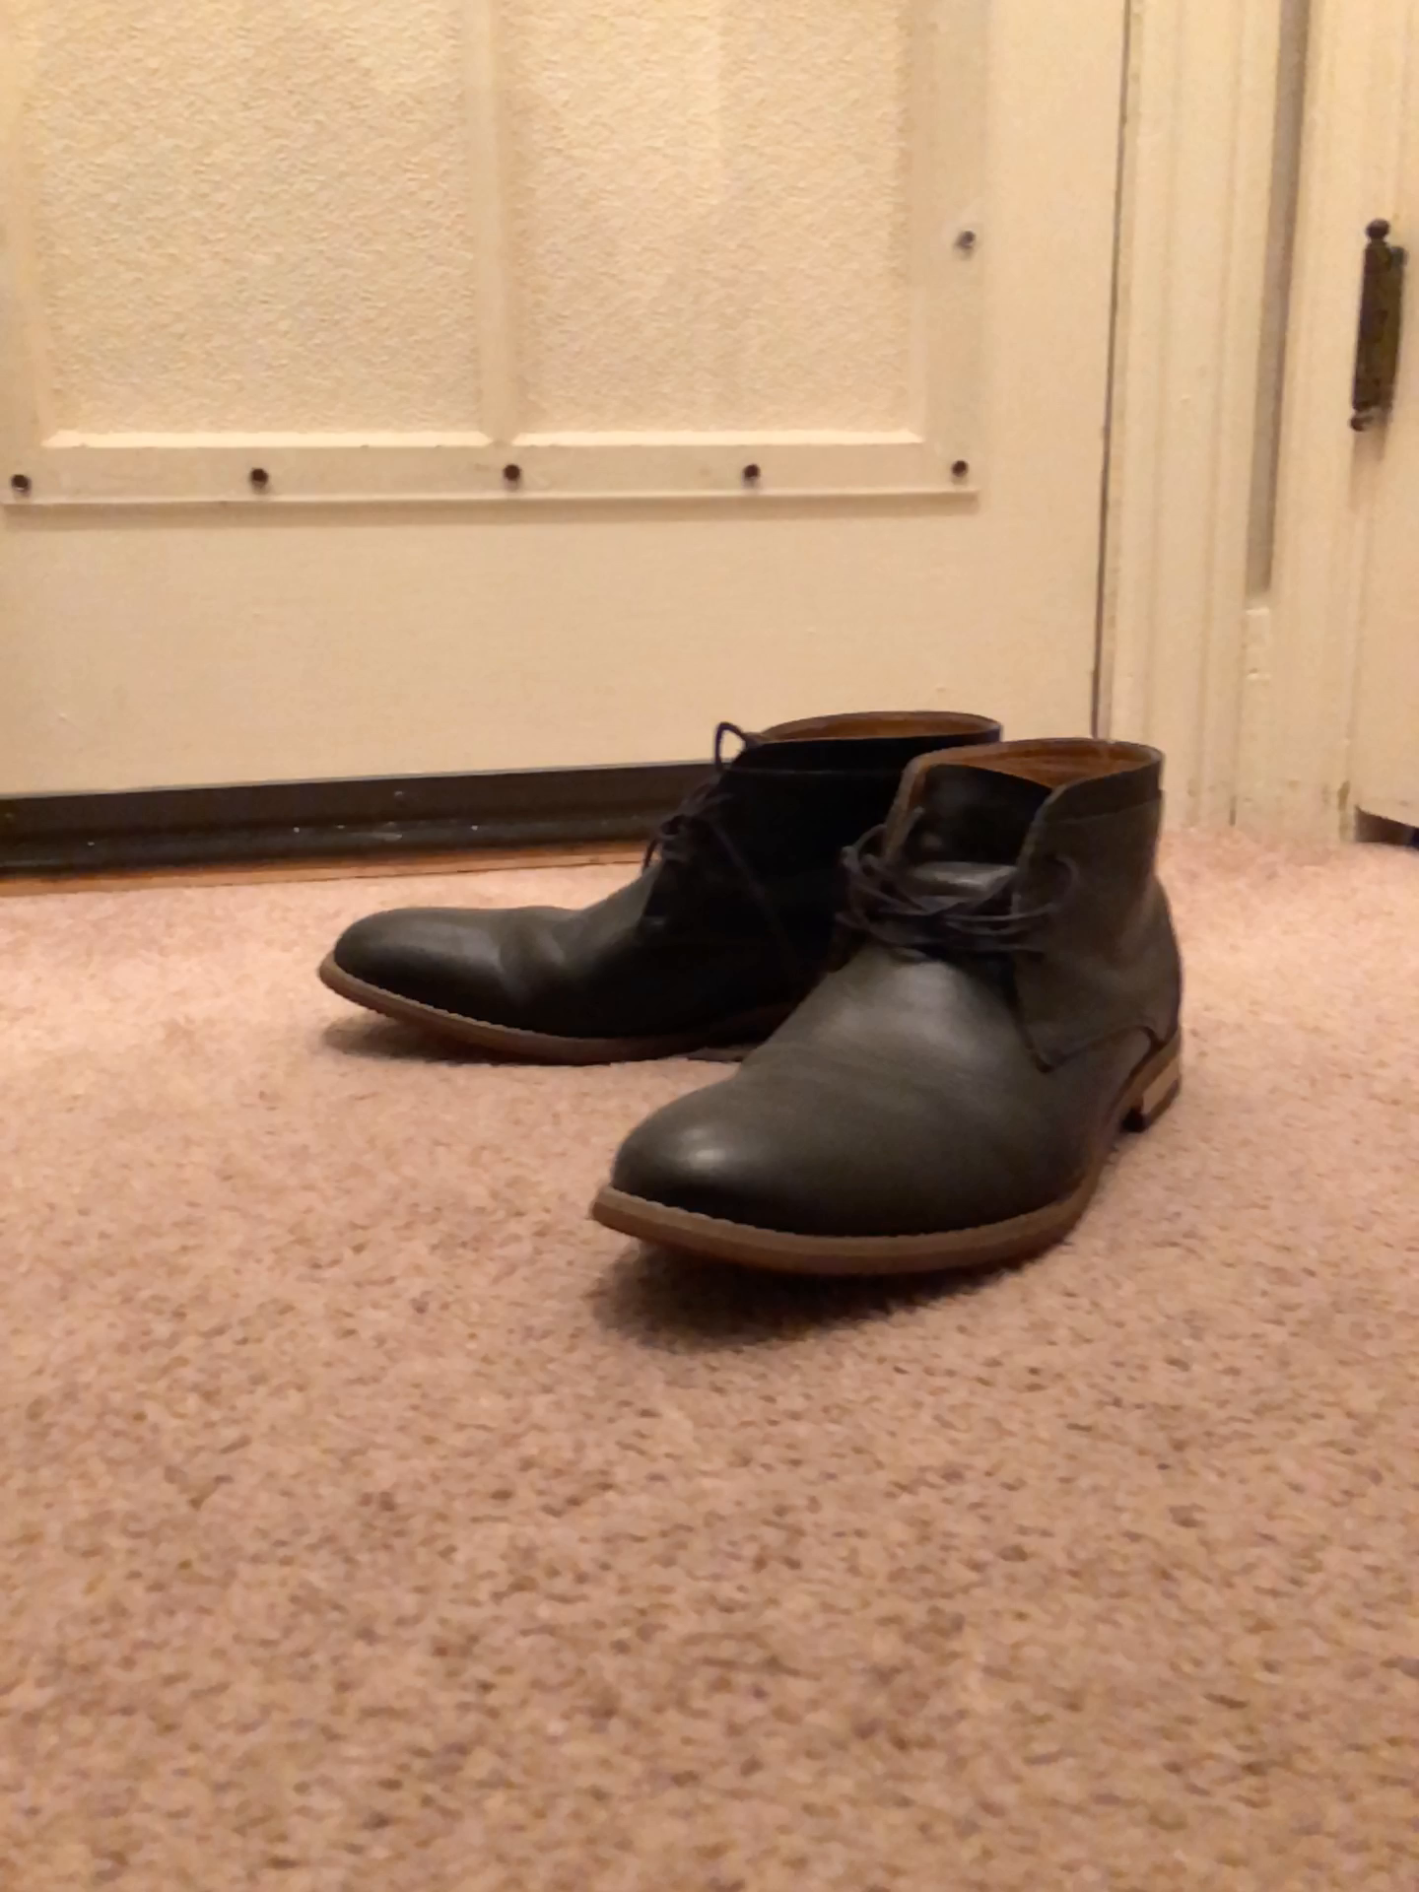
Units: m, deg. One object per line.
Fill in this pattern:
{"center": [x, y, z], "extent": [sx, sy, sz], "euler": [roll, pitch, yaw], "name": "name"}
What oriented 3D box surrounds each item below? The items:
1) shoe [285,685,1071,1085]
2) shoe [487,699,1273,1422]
{"center": [-0.014, -0.034, 0.666], "extent": [0.302, 0.136, 0.116], "euler": [-3, 14, -8], "name": "shoe"}
{"center": [0.077, 0.005, 0.500], "extent": [0.116, 0.136, 0.303], "euler": [8, 17, 33], "name": "shoe"}
